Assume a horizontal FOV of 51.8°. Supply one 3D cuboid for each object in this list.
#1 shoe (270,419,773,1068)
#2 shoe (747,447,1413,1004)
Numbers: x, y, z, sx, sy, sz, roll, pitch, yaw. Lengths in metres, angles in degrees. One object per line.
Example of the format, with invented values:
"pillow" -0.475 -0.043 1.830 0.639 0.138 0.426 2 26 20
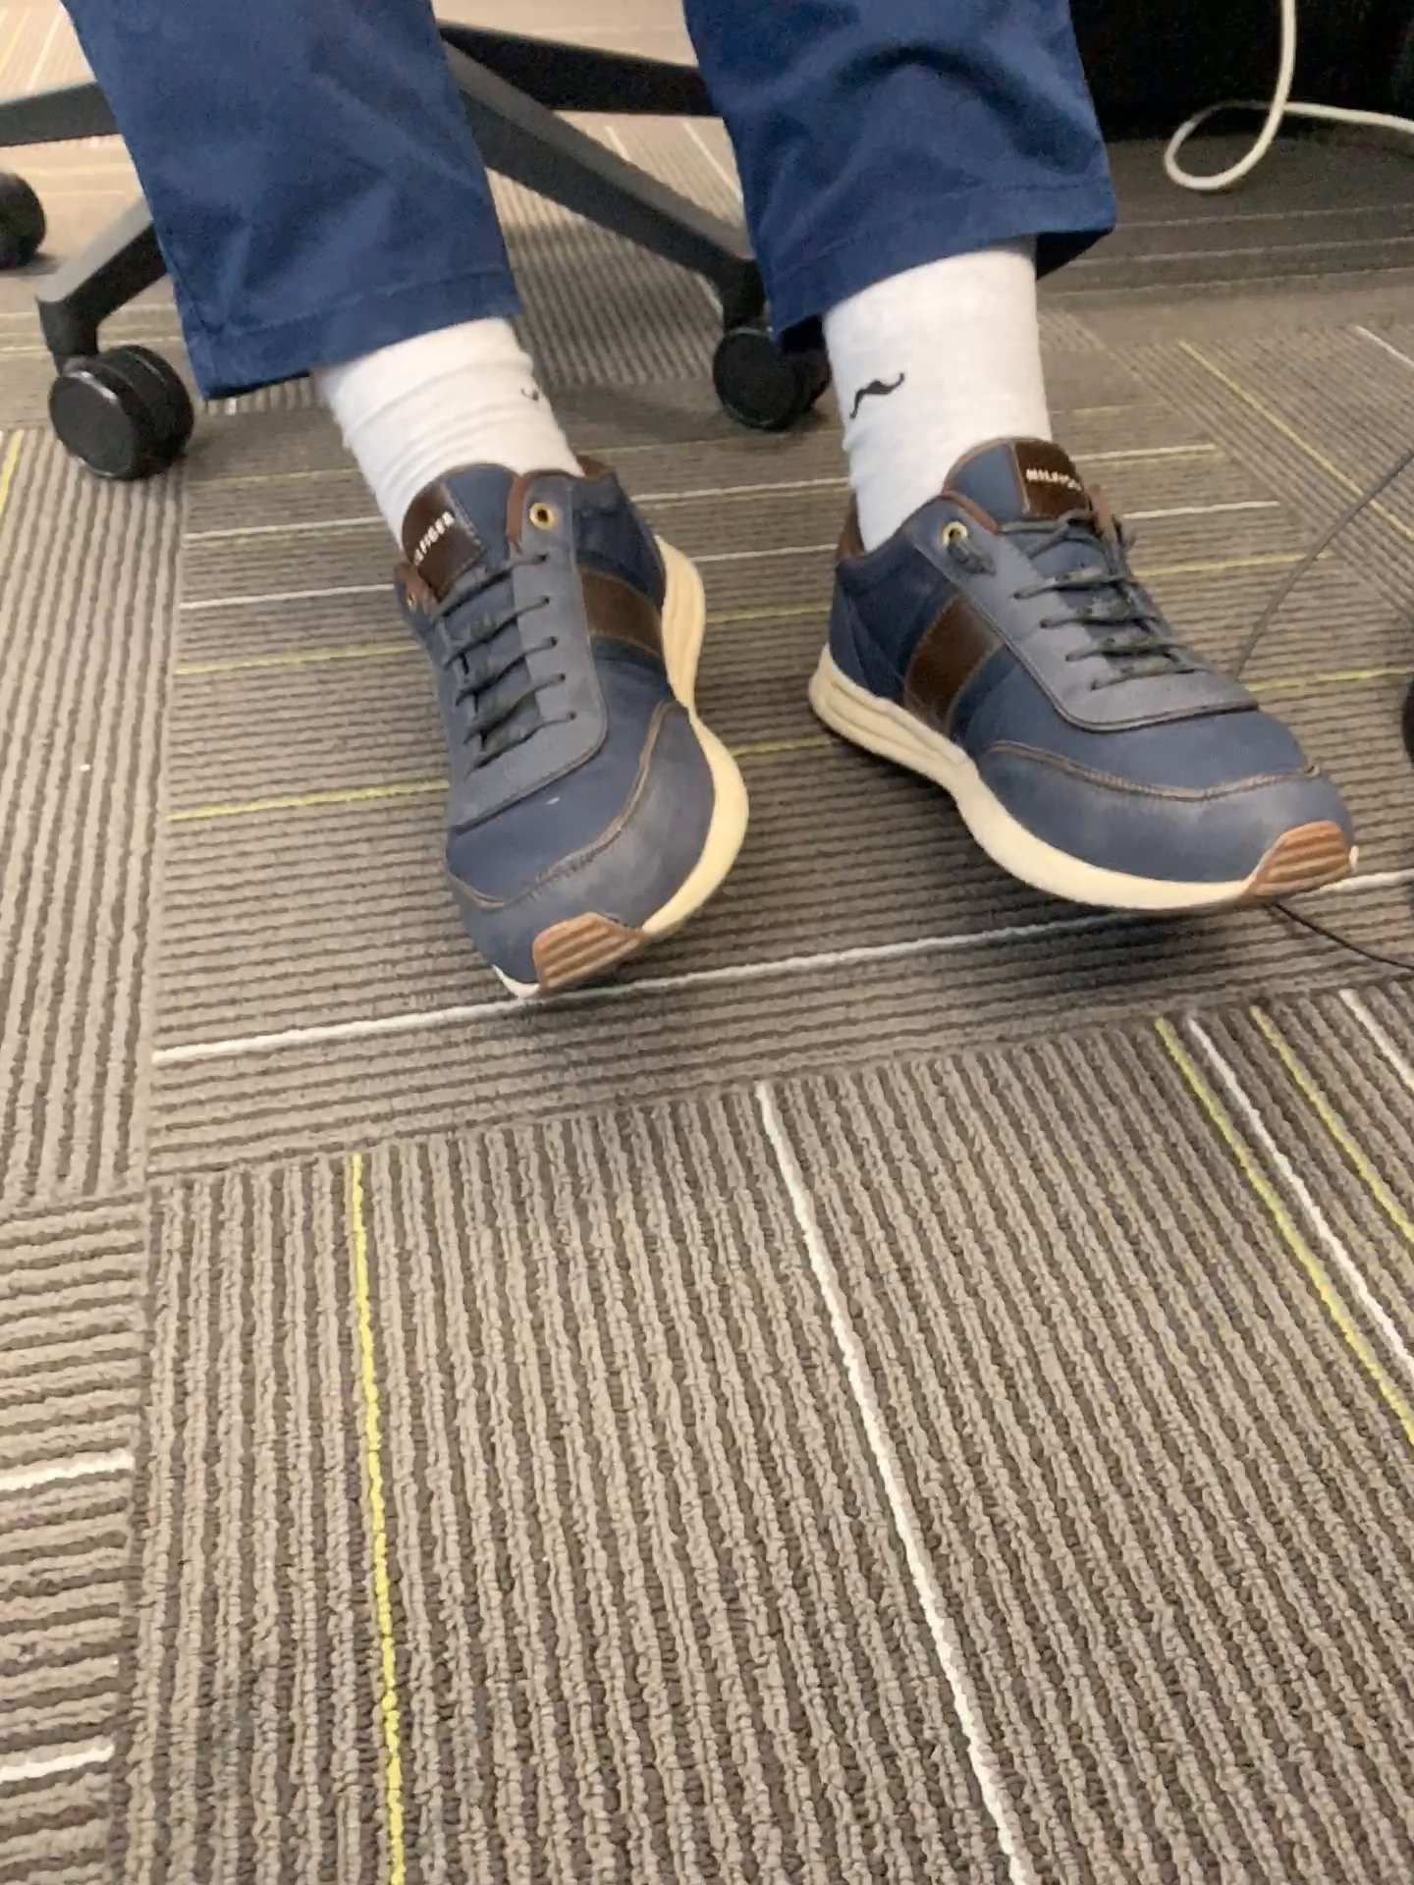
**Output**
"shoe" -0.058 -0.103 0.587 0.120 0.100 0.322 -25 28 14
"shoe" 0.127 -0.106 0.561 0.120 0.100 0.302 -13 31 -15
